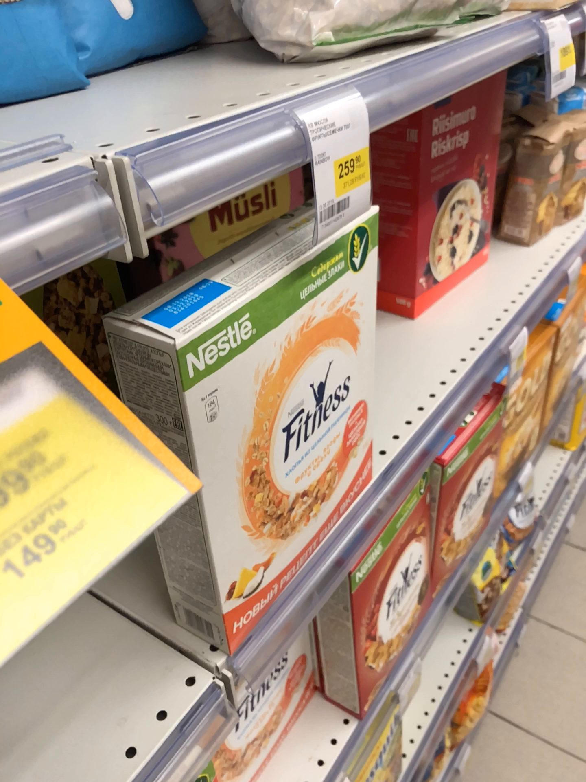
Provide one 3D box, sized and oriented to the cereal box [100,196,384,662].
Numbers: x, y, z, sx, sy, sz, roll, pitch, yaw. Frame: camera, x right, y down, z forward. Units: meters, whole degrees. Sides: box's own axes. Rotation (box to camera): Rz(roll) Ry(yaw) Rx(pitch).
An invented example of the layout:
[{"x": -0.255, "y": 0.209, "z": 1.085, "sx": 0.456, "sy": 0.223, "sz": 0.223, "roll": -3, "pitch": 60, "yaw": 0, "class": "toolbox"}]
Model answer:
[{"x": -0.011, "y": 0.020, "z": 0.417, "sx": 0.050, "sy": 0.229, "sz": 0.191, "roll": 18, "pitch": 40, "yaw": 28, "class": "cereal box"}]
